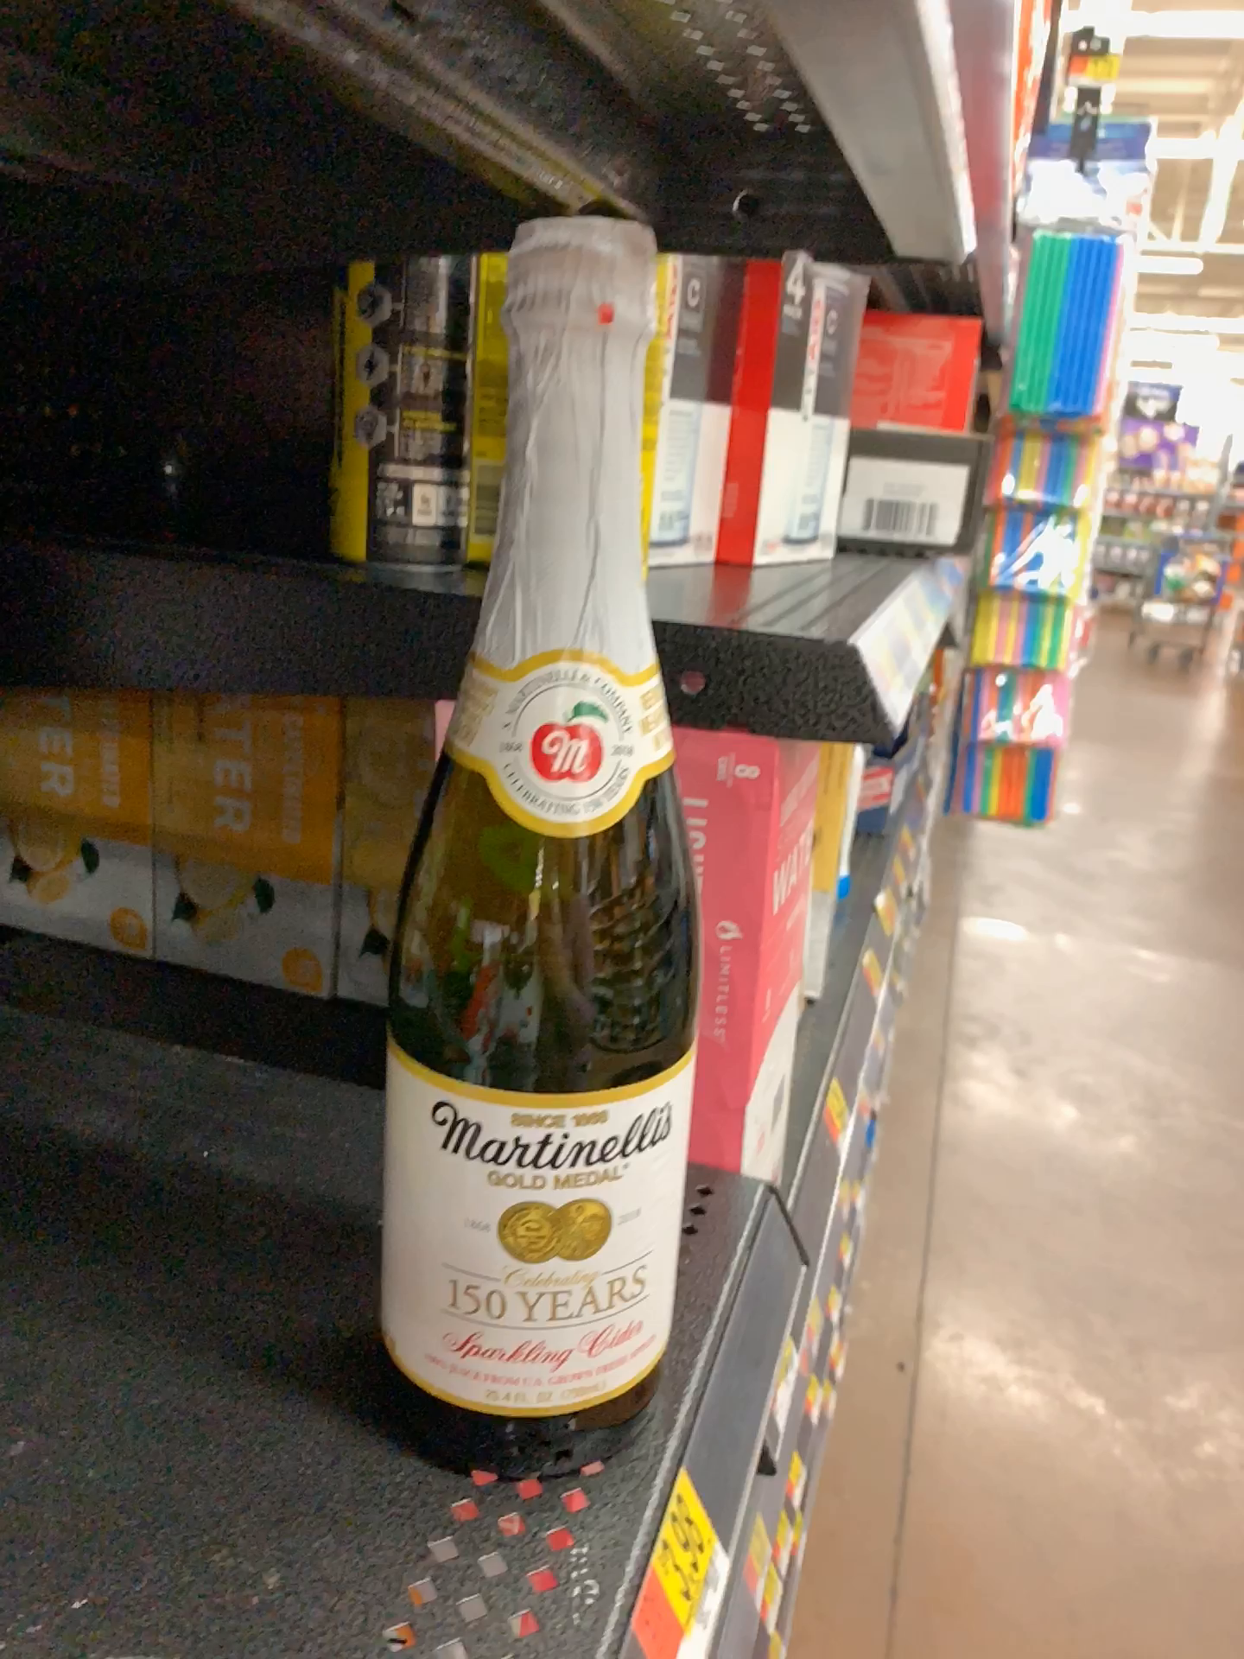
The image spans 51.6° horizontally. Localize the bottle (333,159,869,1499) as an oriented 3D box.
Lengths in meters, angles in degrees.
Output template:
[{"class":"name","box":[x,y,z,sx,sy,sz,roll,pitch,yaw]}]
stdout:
[{"class":"bottle","box":[-0.017,0.011,0.323,0.089,0.299,0.090,5,17,-2]}]
